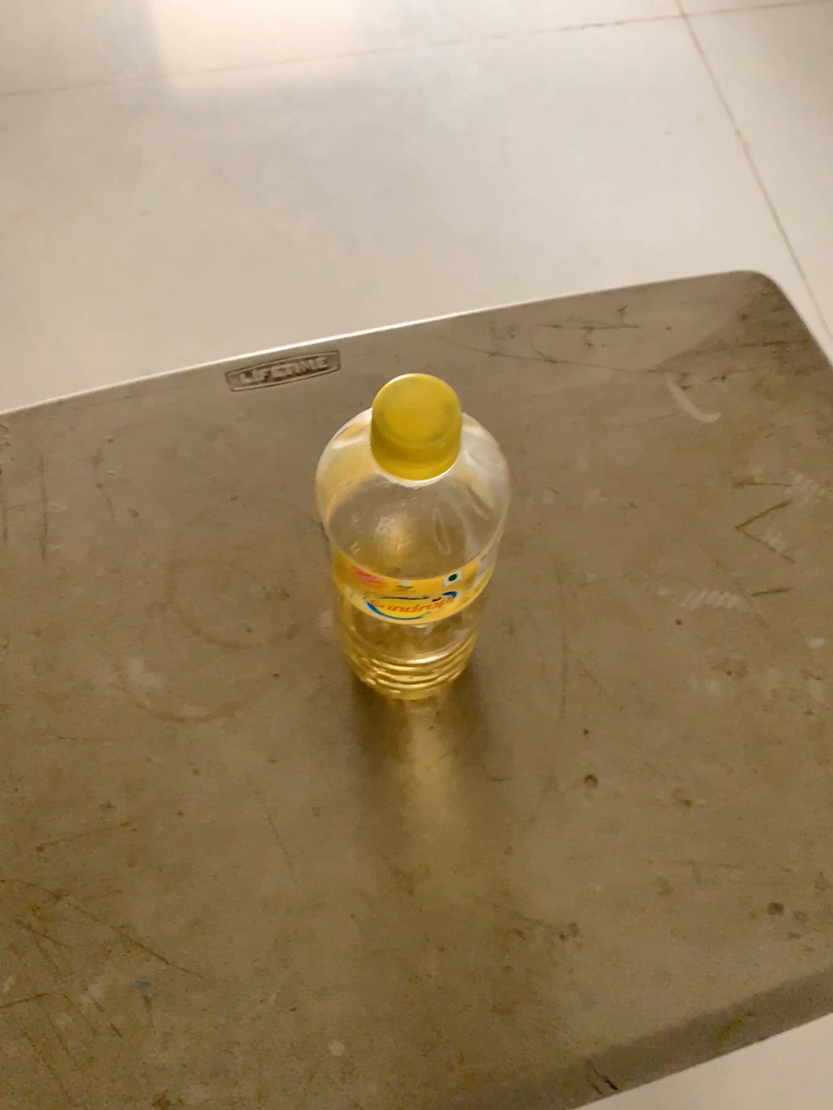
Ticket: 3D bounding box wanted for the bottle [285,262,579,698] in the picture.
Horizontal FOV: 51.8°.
[{"bbox_3d":[0.001,-0.008,0.404,0.090,0.270,0.090,0,68,-1],"label":"bottle"}]
